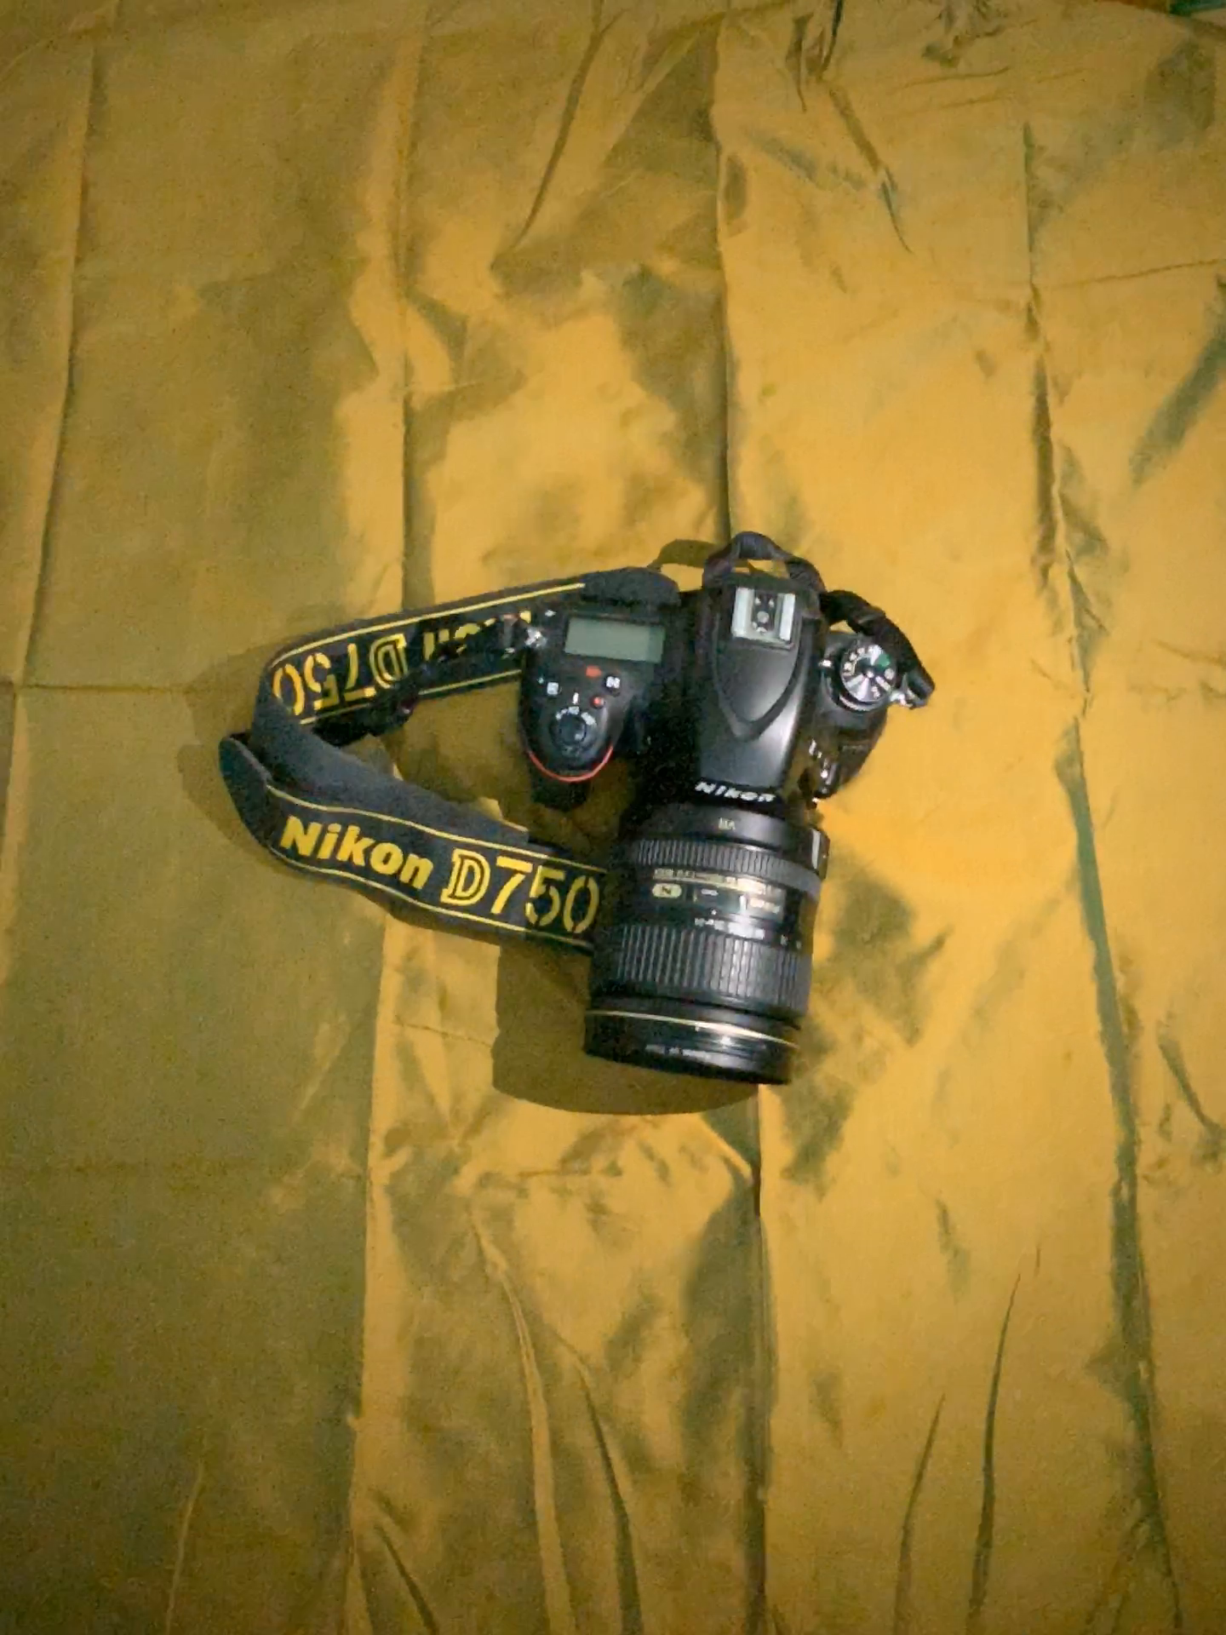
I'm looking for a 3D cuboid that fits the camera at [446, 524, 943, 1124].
[{"bbox_3d":[0.031,0.008,0.473,0.150,0.101,0.190,7,75,1],"label":"camera"}]
